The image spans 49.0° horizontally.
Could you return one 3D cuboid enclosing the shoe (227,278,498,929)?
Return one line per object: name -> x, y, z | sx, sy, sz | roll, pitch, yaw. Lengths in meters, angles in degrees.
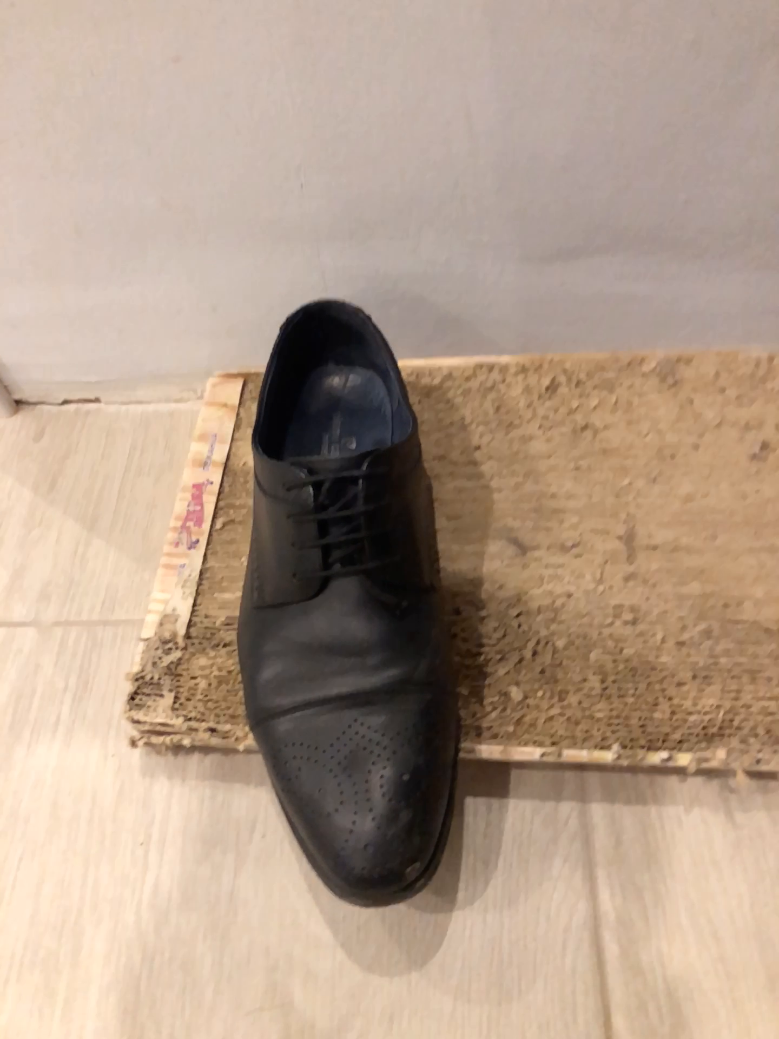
shoe -> -0.017, 0.026, 0.401 | 0.090, 0.100, 0.281 | -8, 56, 2
